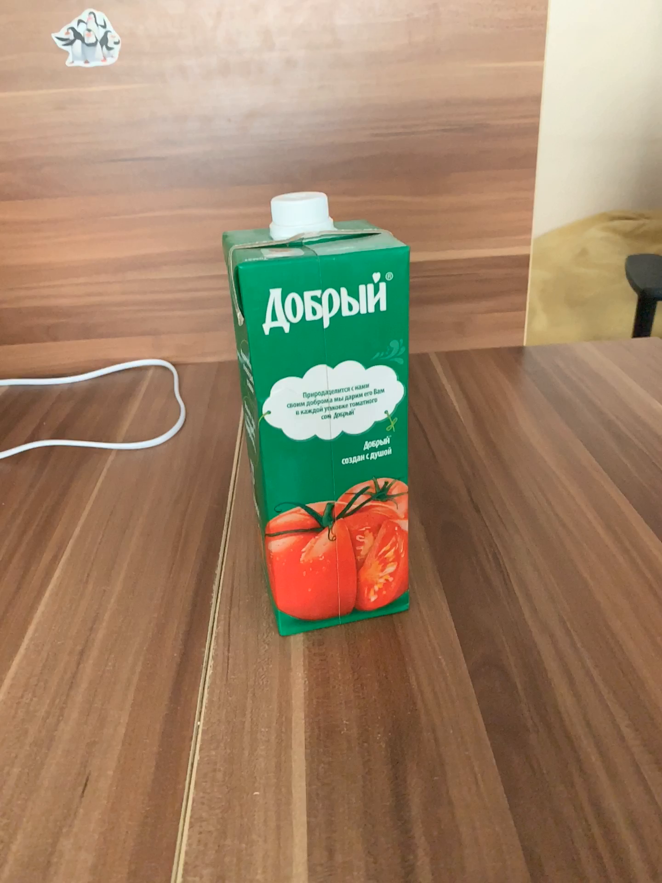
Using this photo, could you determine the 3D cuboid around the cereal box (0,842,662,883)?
[{"bbox_3d":[0.038,0.756,0.136,0.591,0.836,0.612,-26,35,-35],"label":"cereal box"}]
